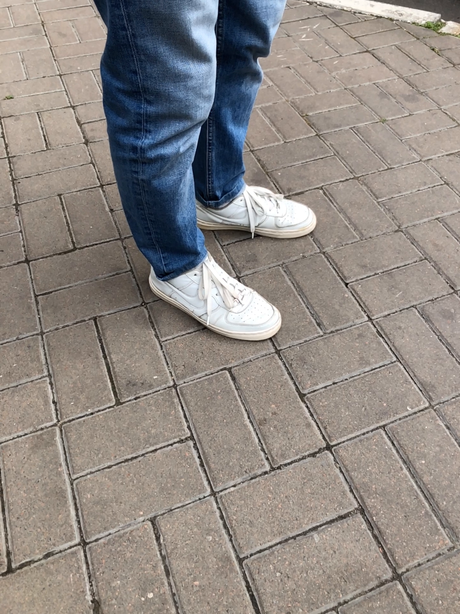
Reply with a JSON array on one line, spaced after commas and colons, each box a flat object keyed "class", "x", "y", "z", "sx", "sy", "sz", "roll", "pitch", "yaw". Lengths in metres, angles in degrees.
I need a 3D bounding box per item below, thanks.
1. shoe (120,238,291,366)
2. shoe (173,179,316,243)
[{"class": "shoe", "x": -0.048, "y": -0.017, "z": 0.957, "sx": 0.300, "sy": 0.070, "sz": 0.121, "roll": 25, "pitch": 57, "yaw": 20}, {"class": "shoe", "x": 0.034, "y": -0.214, "z": 1.115, "sx": 0.300, "sy": 0.070, "sz": 0.111, "roll": 4, "pitch": 52, "yaw": 4}]
